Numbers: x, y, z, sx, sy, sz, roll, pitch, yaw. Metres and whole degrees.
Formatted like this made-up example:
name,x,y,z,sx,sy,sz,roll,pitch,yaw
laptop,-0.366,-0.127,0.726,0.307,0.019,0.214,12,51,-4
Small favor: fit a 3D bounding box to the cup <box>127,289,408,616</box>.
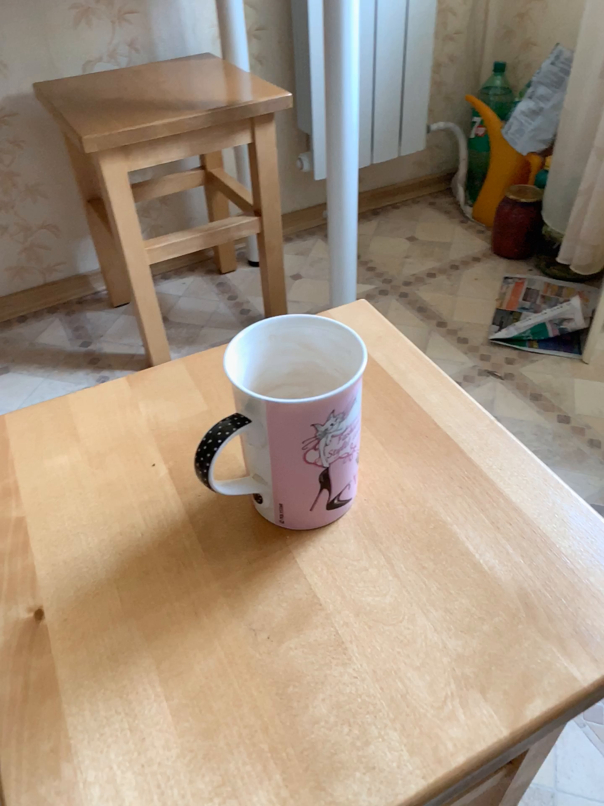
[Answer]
name,x,y,z,sx,sy,sz,roll,pitch,yaw
cup,-0.010,0.021,0.330,0.080,0.099,0.121,23,48,26
